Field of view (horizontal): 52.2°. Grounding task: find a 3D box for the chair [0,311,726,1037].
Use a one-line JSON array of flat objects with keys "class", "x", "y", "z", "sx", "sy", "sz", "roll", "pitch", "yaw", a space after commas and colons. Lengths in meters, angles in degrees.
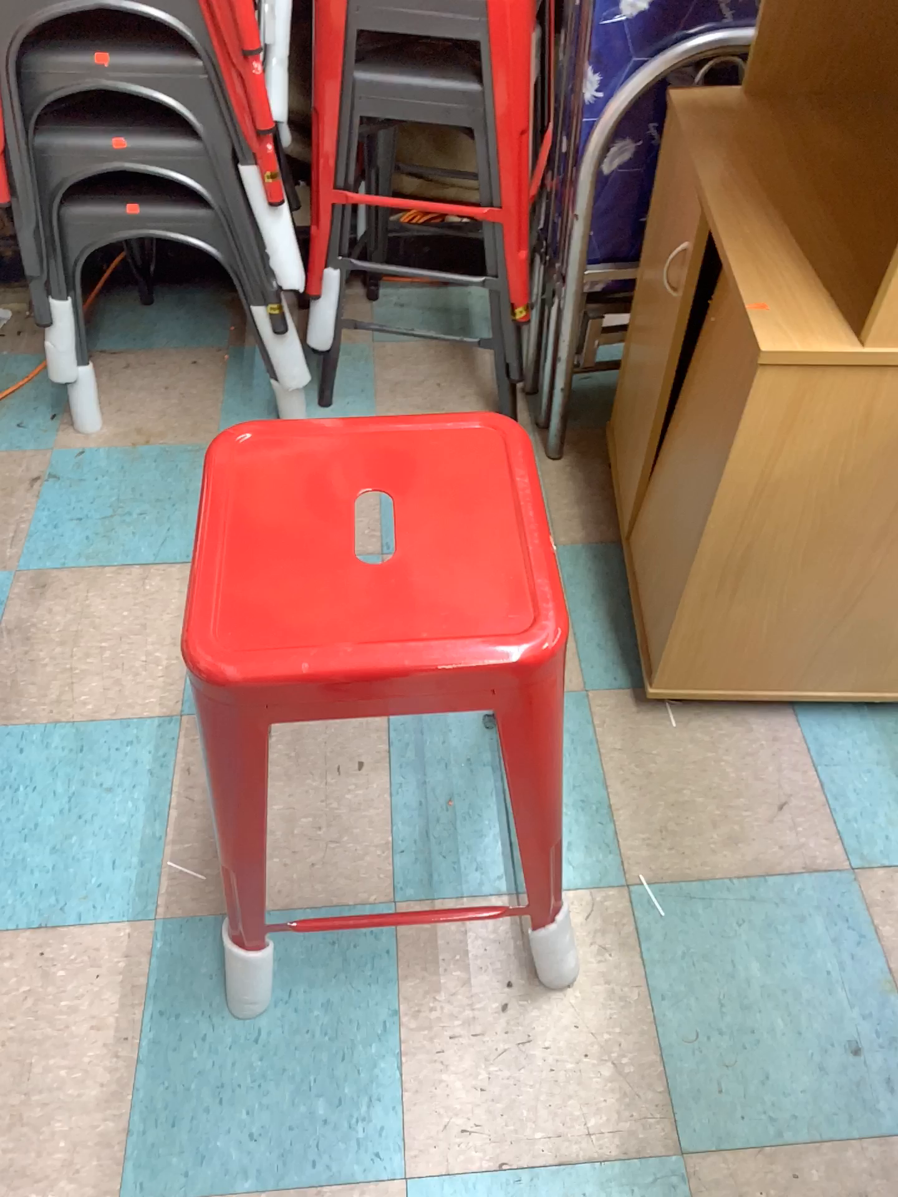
[{"class": "chair", "x": -0.065, "y": 0.109, "z": 0.922, "sx": 0.438, "sy": 0.599, "sz": 0.436, "roll": -4, "pitch": 51, "yaw": -3}]
